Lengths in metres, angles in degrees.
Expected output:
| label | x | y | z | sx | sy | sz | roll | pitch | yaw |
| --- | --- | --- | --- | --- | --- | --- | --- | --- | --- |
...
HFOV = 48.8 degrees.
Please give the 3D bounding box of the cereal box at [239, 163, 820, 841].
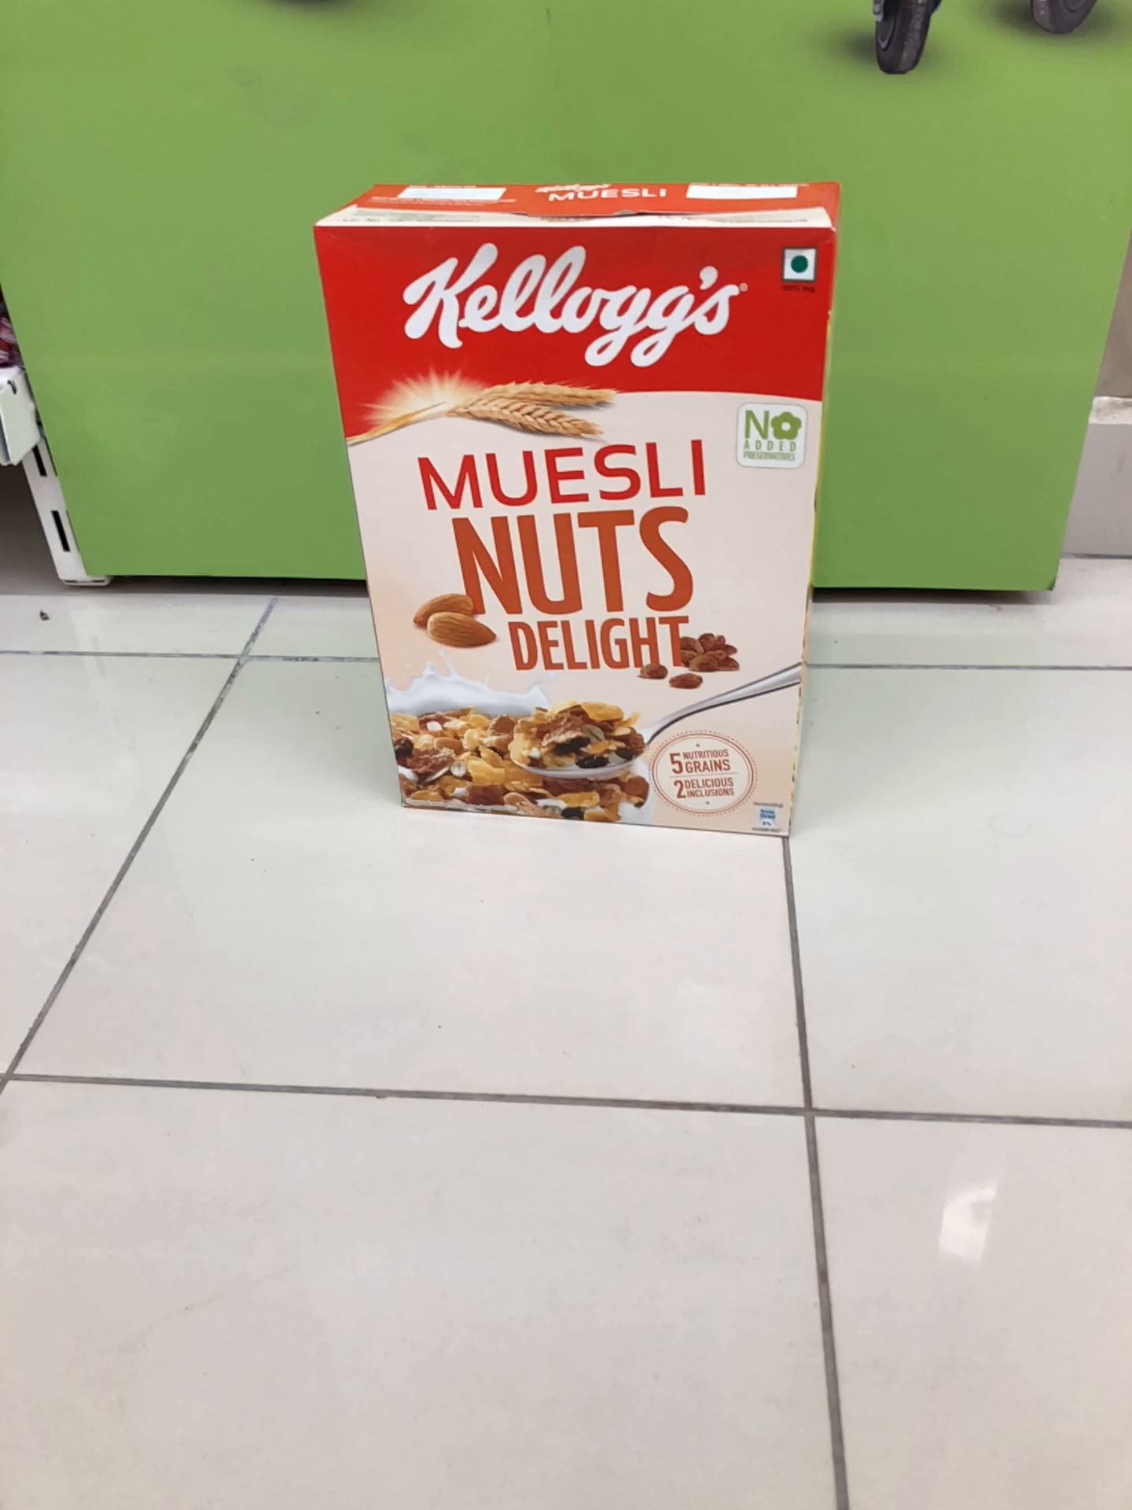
| label | x | y | z | sx | sy | sz | roll | pitch | yaw |
| --- | --- | --- | --- | --- | --- | --- | --- | --- | --- |
| cereal box | -0.006 | -0.099 | 0.534 | 0.200 | 0.268 | 0.081 | 3 | 36 | 7 |
